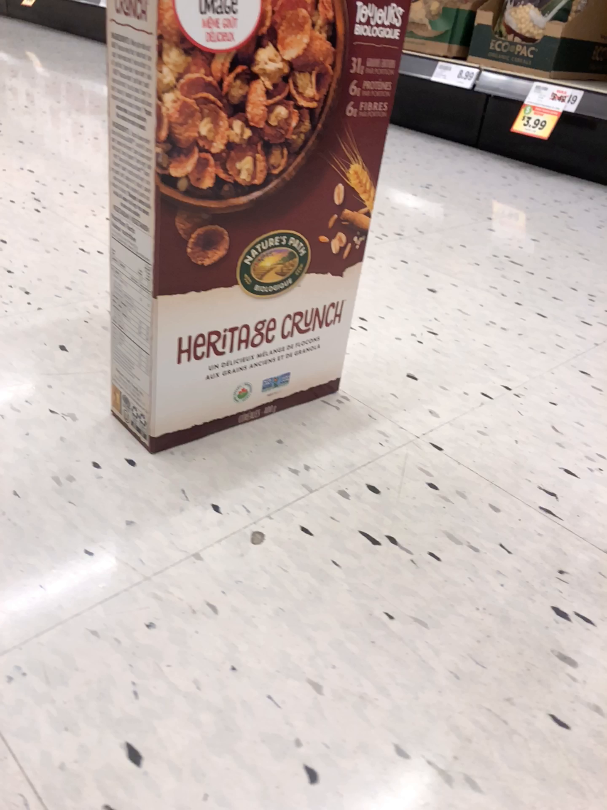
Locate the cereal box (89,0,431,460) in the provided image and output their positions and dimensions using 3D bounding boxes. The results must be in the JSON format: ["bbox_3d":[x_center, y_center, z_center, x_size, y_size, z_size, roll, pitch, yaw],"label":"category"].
[{"bbox_3d":[-0.029,-0.110,0.398,0.171,0.248,0.060,-19,40,-38],"label":"cereal box"}]
